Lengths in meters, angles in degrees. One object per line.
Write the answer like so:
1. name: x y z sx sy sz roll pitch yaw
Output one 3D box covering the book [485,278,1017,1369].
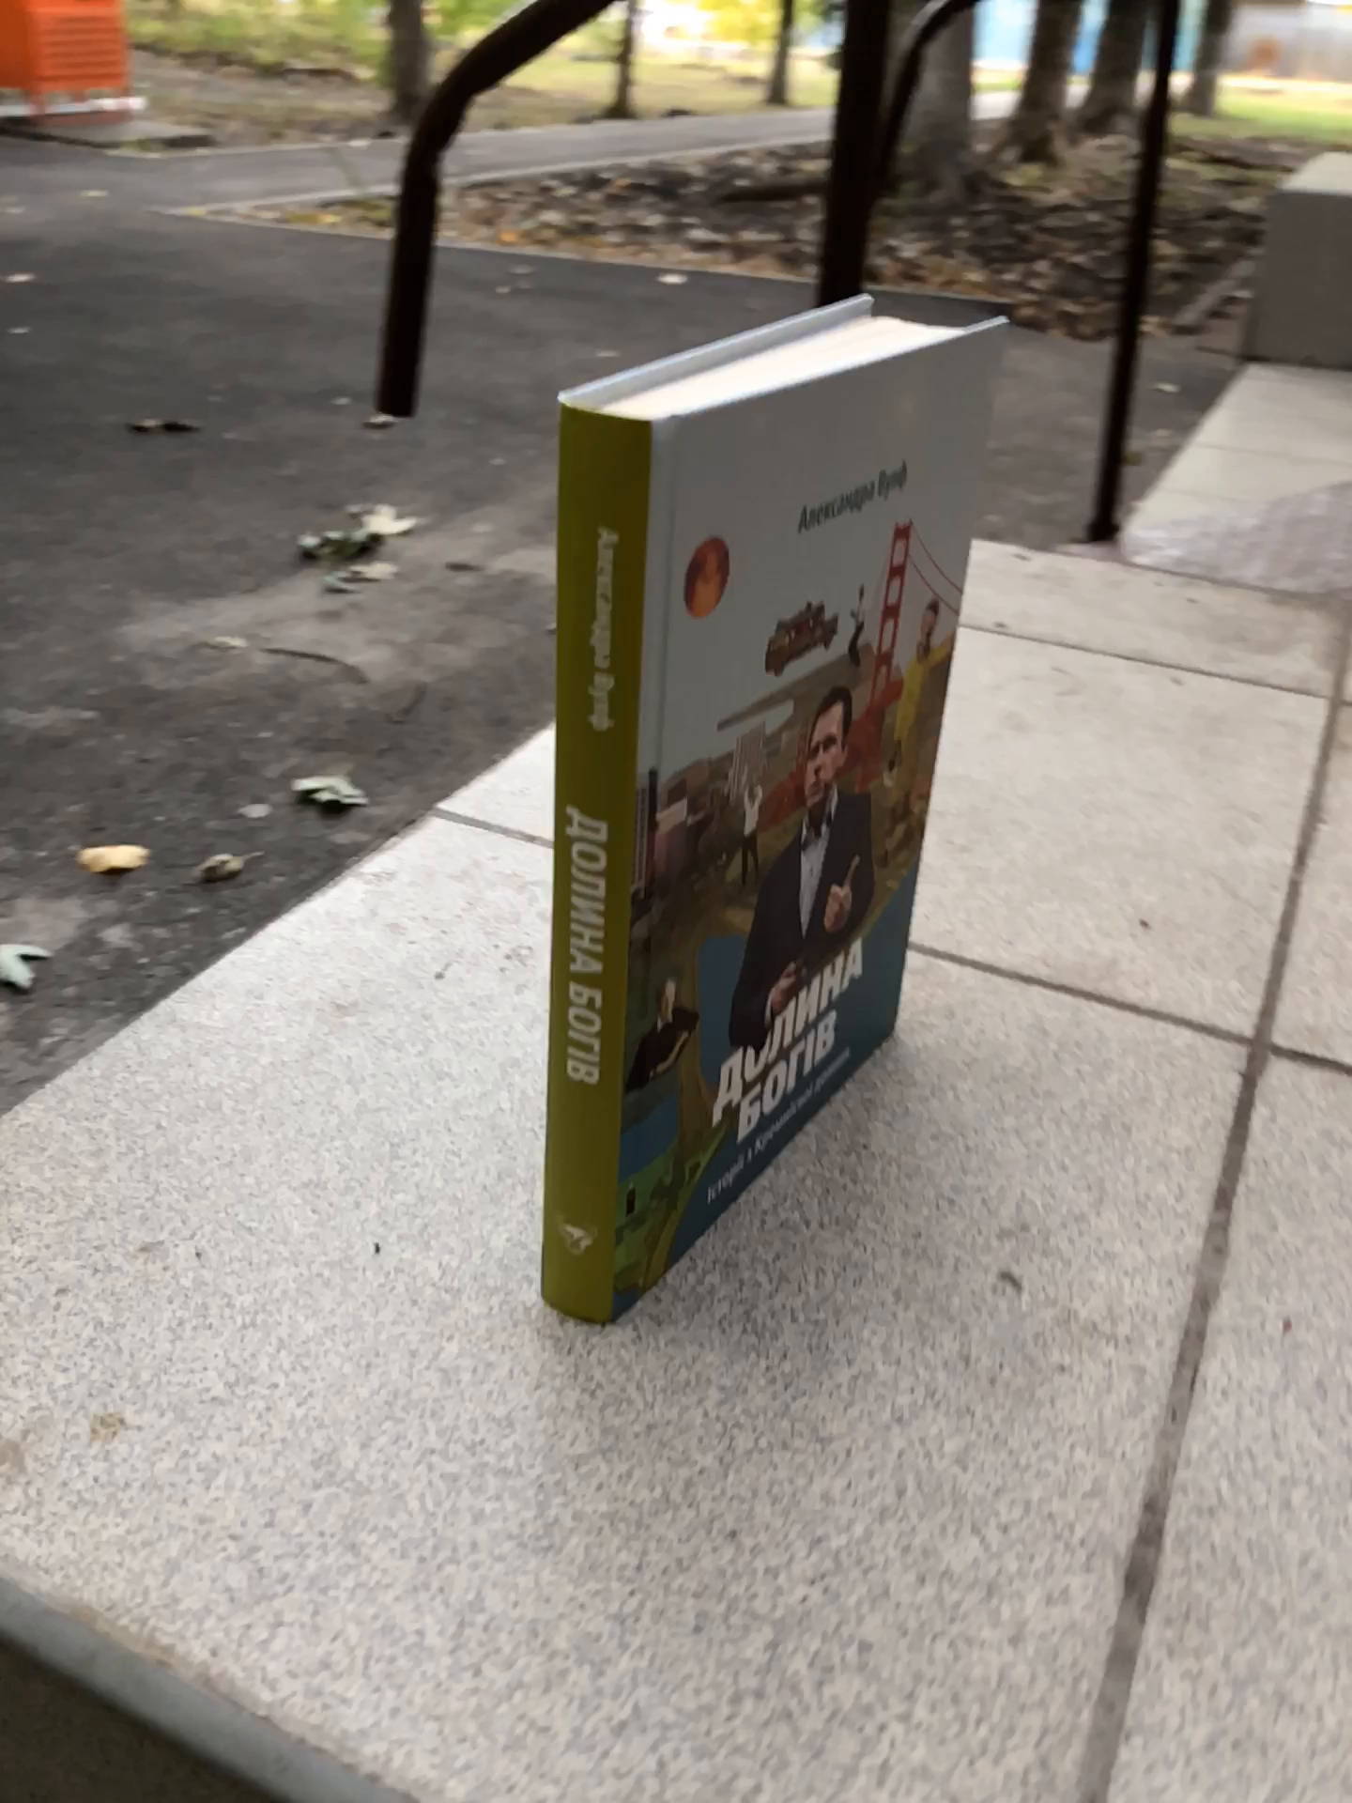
1. book: 0.023 -0.025 0.355 0.044 0.208 0.161 15 33 23
